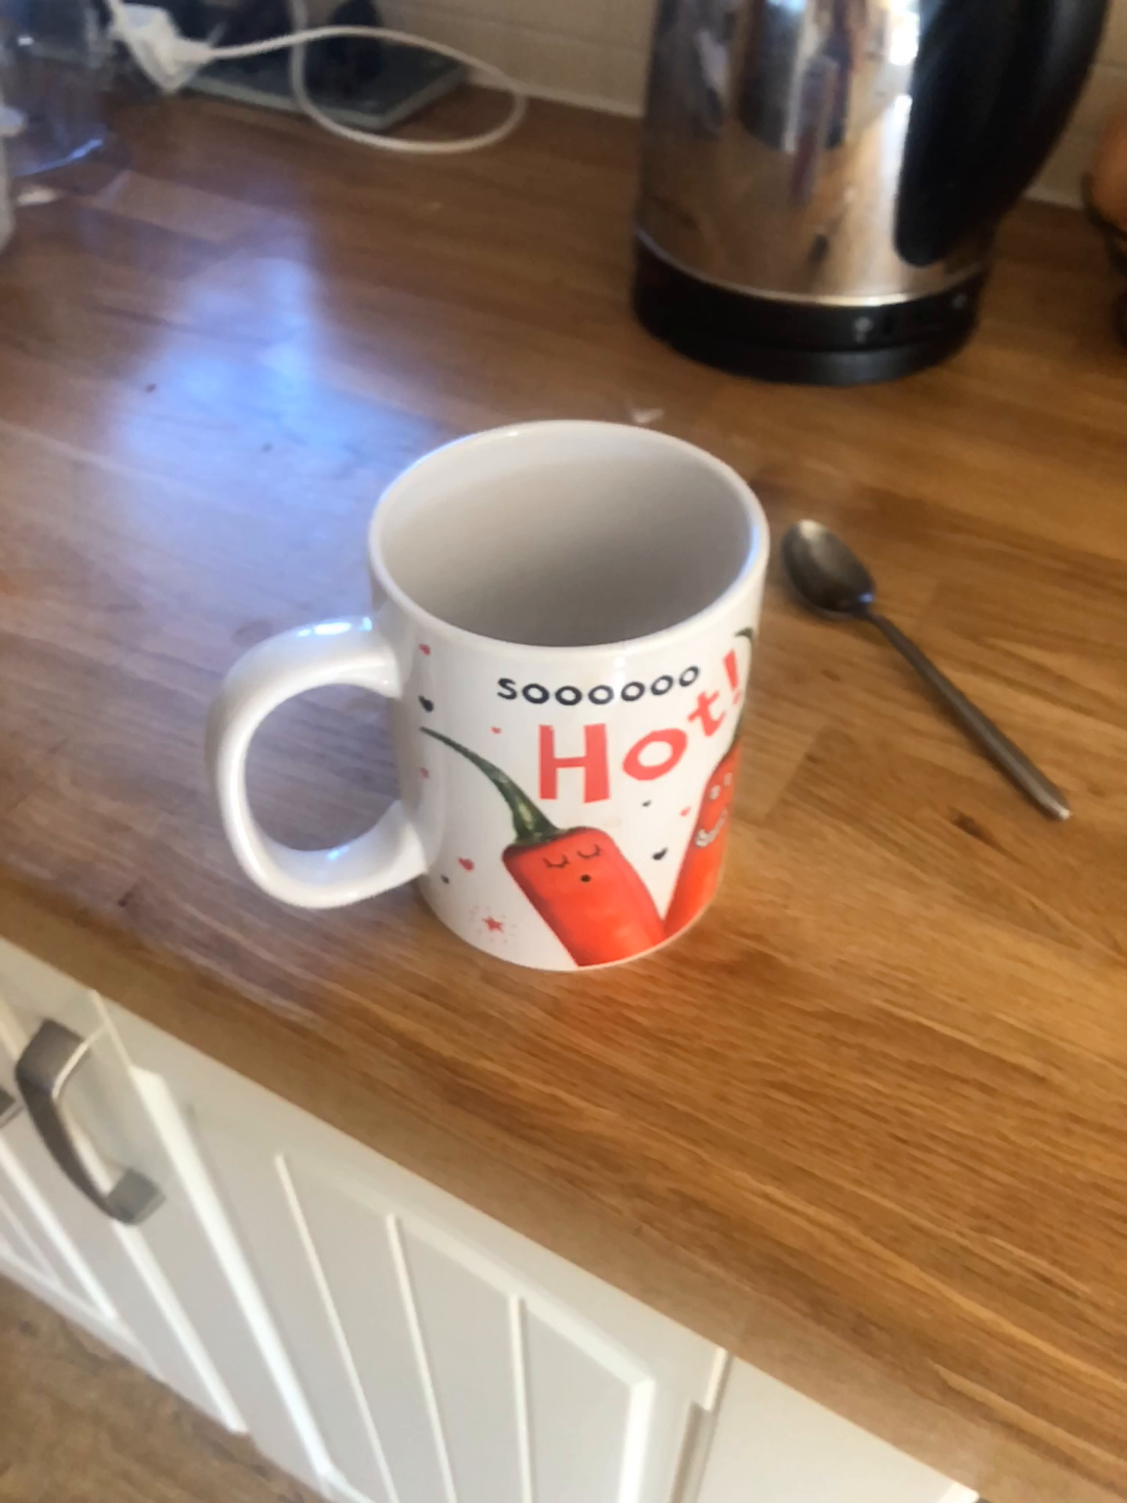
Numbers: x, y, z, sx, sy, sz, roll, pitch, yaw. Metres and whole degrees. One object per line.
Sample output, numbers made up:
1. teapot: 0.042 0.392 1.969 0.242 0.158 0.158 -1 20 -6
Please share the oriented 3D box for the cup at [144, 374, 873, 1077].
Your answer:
1. cup: -0.016 -0.009 0.315 0.136 0.109 0.097 -15 47 -15
